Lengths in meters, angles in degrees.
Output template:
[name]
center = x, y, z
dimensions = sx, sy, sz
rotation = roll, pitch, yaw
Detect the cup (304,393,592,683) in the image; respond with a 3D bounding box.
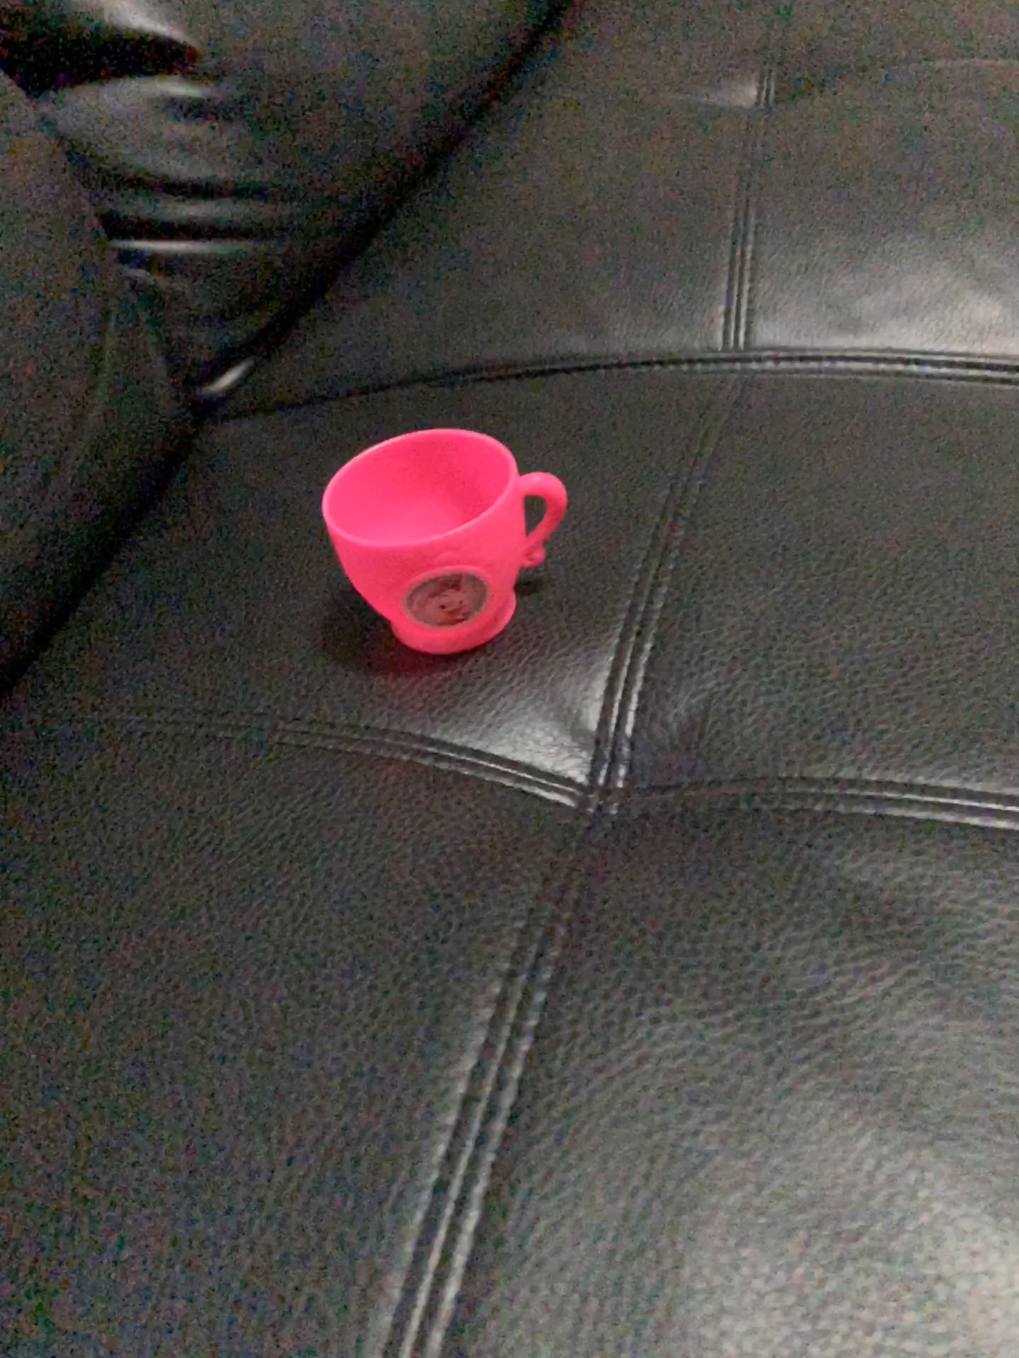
[cup]
center = -0.019, -0.044, 0.323
dimensions = 0.073, 0.047, 0.062
rotation = -13, 41, 3
